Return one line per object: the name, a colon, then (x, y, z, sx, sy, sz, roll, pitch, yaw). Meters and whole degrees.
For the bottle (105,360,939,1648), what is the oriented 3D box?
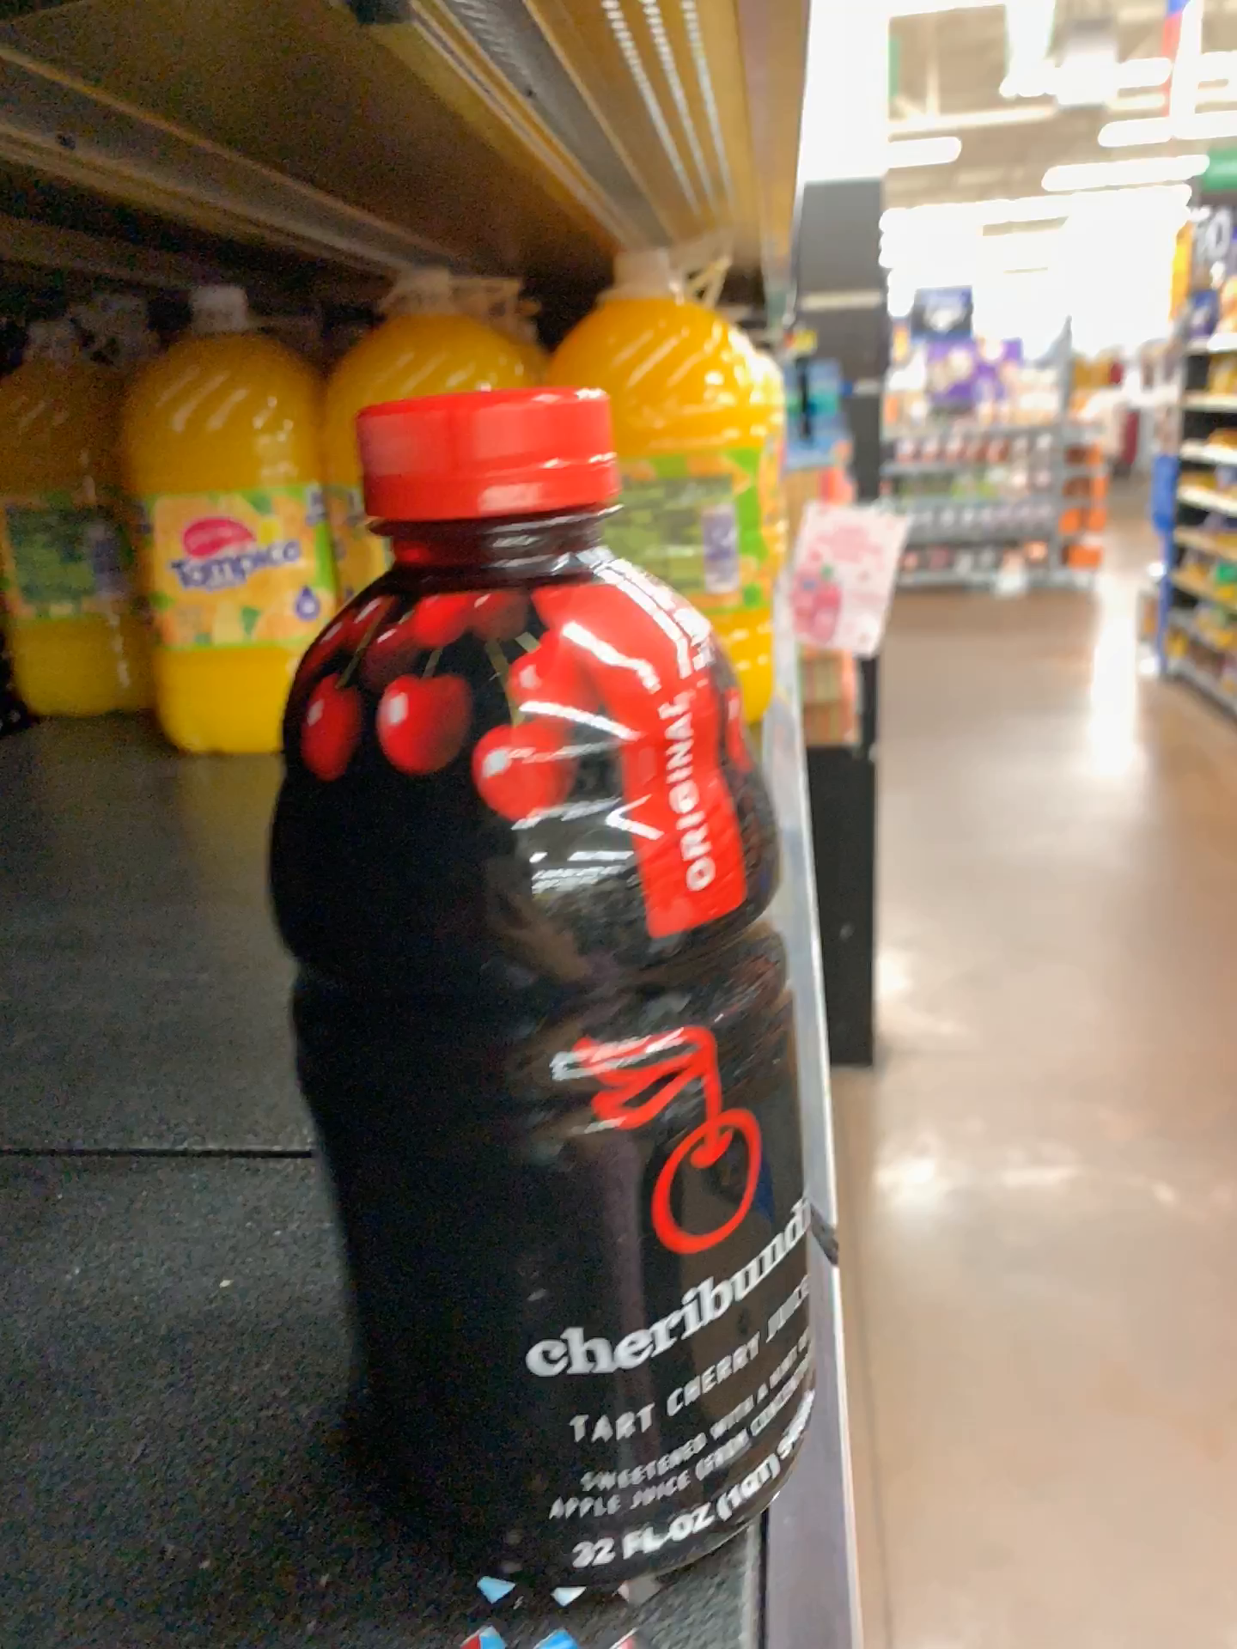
bottle: (-0.011, 0.029, 0.232, 0.095, 0.204, 0.090, -3, 18, 1)
